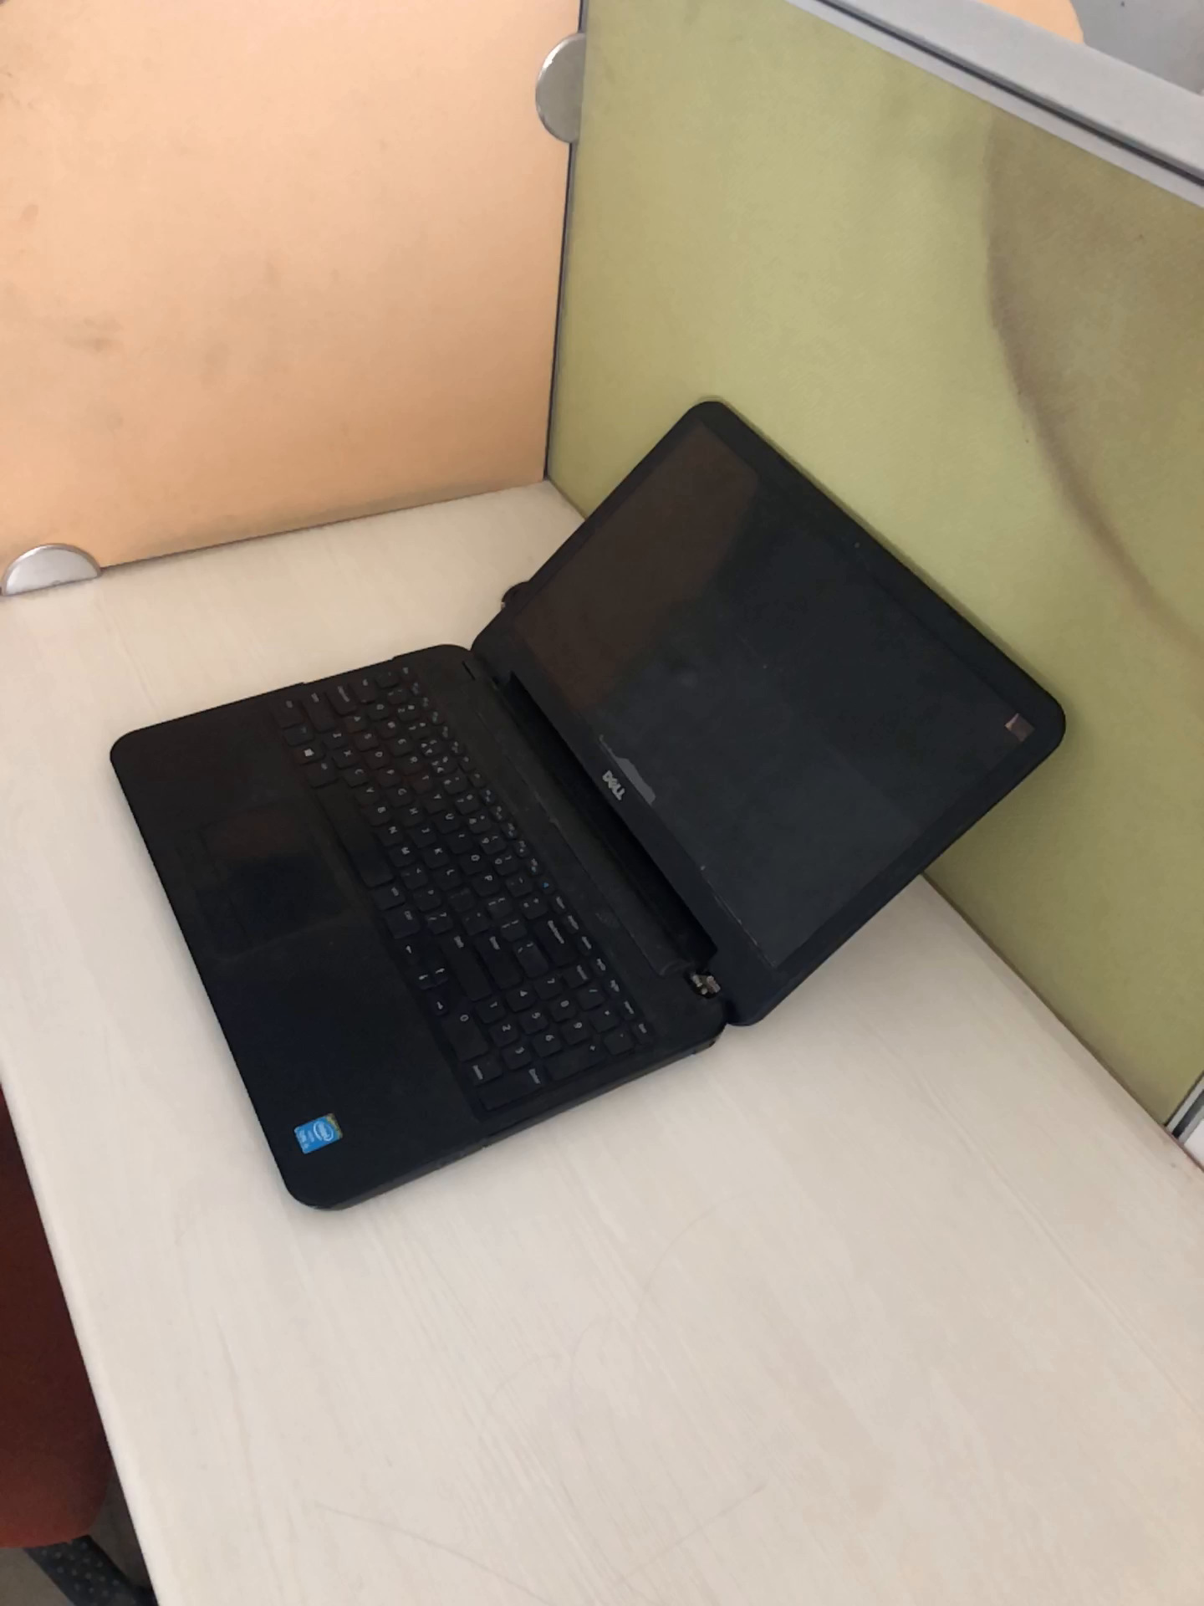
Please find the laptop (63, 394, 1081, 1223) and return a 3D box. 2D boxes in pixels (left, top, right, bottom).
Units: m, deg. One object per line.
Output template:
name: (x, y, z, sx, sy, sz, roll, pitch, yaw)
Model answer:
laptop: (-0.032, -0.038, 0.762, 0.427, 0.158, 0.357, -19, 51, -23)
